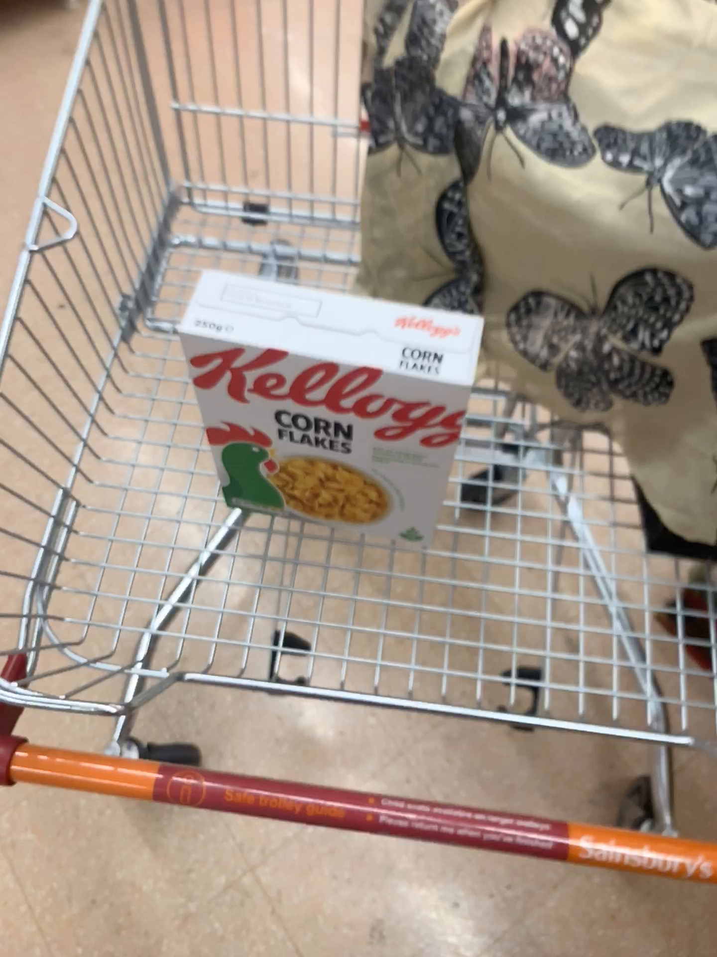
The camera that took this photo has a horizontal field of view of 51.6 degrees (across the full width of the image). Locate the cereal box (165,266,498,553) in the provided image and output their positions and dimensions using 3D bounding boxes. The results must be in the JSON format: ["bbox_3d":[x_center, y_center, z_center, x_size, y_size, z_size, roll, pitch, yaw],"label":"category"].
[{"bbox_3d":[-0.020,-0.037,0.568,0.200,0.238,0.060,11,61,3],"label":"cereal box"}]
